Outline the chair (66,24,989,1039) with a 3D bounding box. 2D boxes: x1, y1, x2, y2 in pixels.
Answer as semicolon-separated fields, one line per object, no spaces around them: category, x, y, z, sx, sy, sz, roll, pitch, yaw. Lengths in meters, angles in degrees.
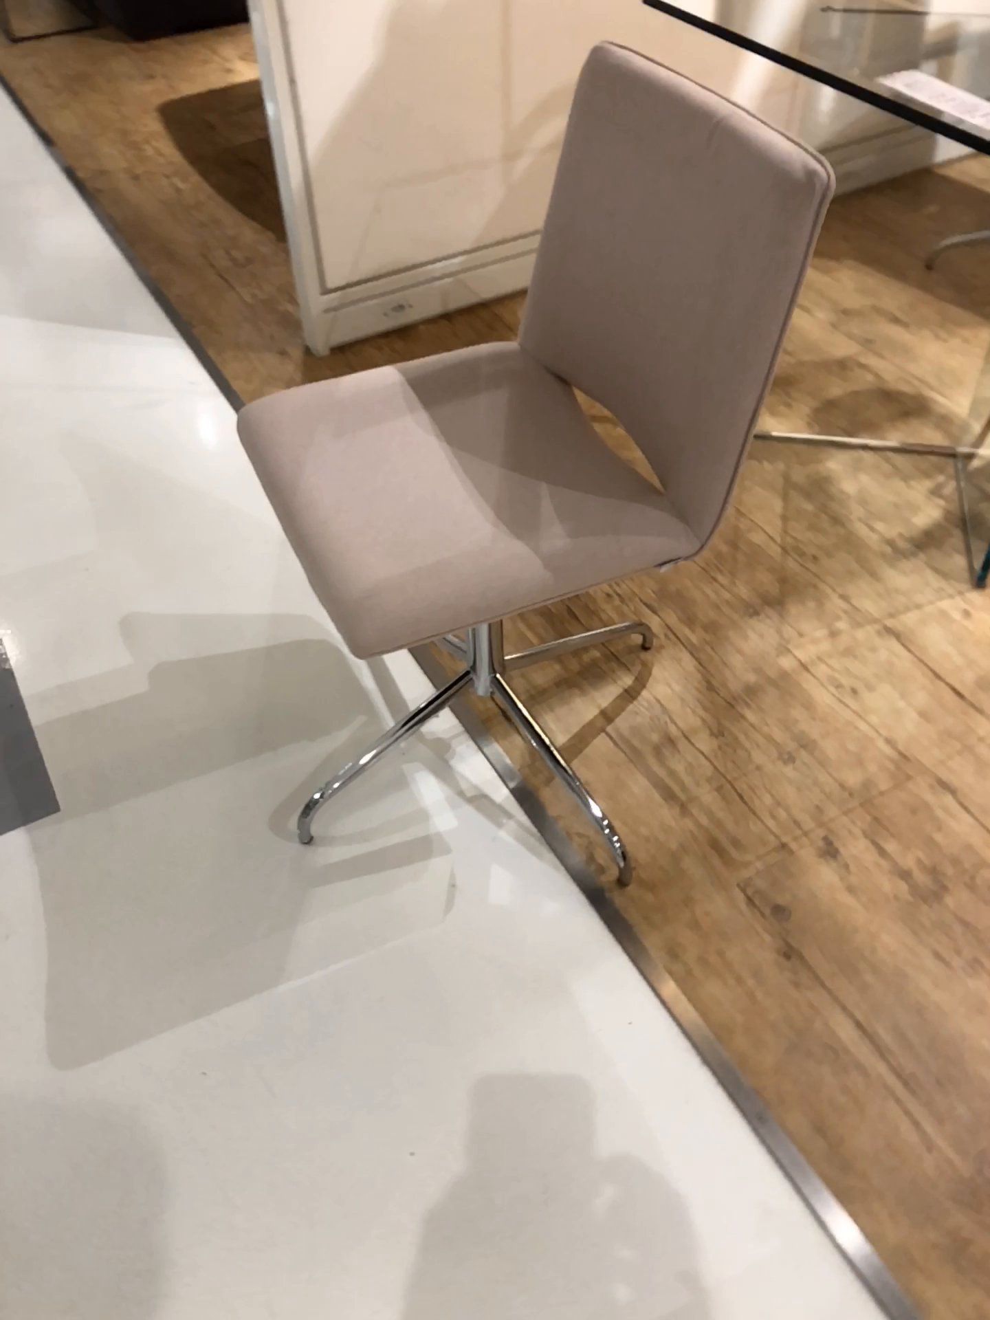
chair;0.012;-0.162;1.219;0.631;0.745;0.654;-20;48;-17
